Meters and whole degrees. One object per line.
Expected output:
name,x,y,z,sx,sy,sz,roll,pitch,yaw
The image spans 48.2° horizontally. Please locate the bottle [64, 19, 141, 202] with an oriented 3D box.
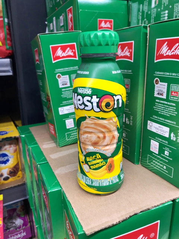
bottle,0.018,-0.009,0.229,0.060,0.179,0.060,-1,16,0
